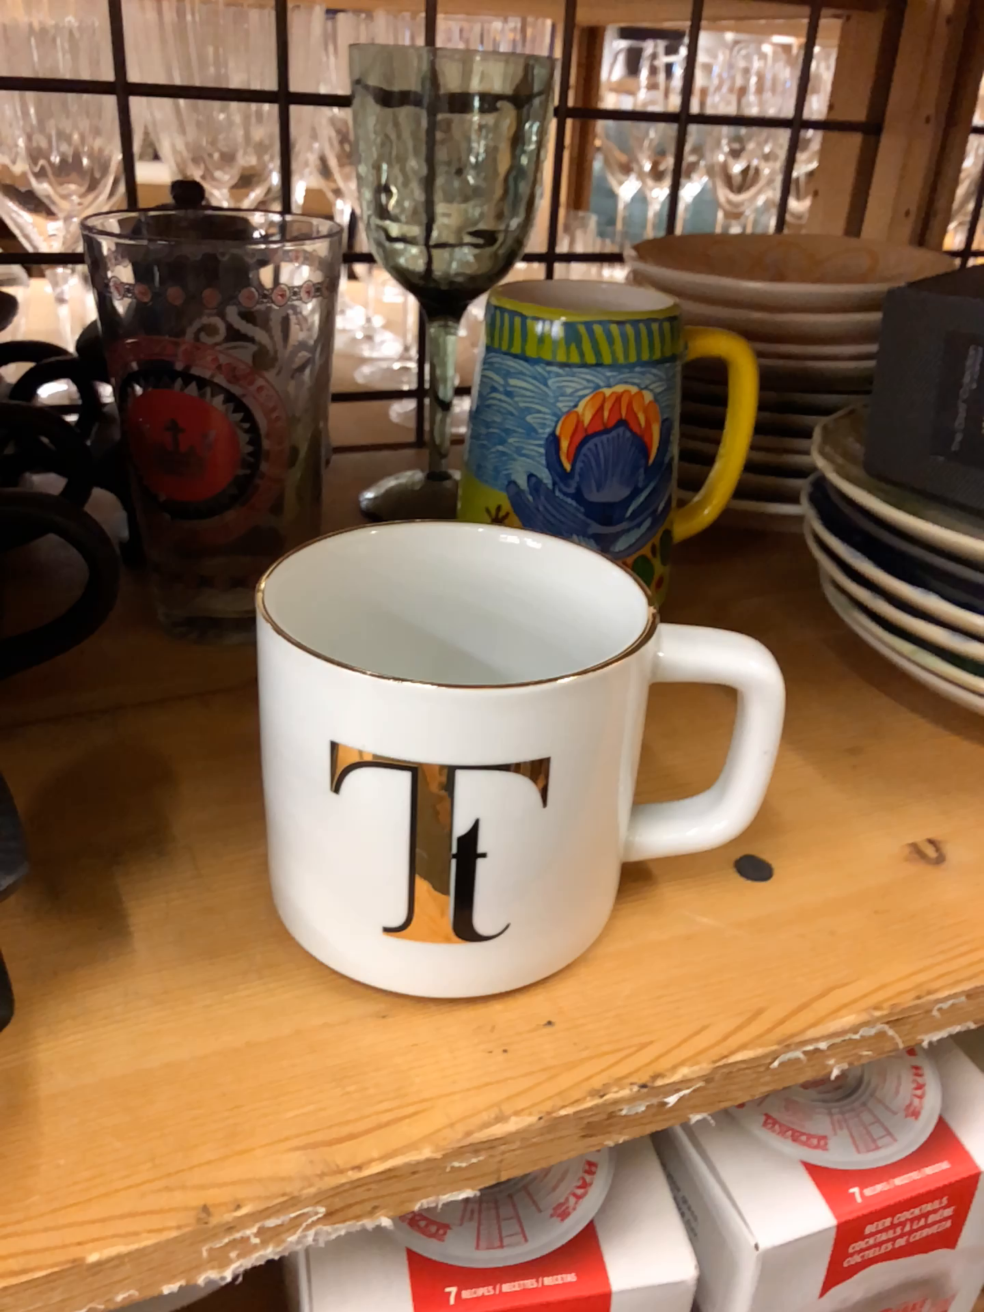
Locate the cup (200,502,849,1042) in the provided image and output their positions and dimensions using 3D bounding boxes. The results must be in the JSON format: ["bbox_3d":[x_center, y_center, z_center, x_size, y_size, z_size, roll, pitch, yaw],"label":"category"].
[{"bbox_3d":[0.006,0.023,0.265,0.123,0.084,0.089,5,28,2],"label":"cup"}]

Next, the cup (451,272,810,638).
[{"bbox_3d":[0.041,-0.074,0.386,0.092,0.104,0.079,-4,29,-14],"label":"cup"}]

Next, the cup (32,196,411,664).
[{"bbox_3d":[-0.087,-0.082,0.385,0.093,0.134,0.079,11,29,14],"label":"cup"}]
